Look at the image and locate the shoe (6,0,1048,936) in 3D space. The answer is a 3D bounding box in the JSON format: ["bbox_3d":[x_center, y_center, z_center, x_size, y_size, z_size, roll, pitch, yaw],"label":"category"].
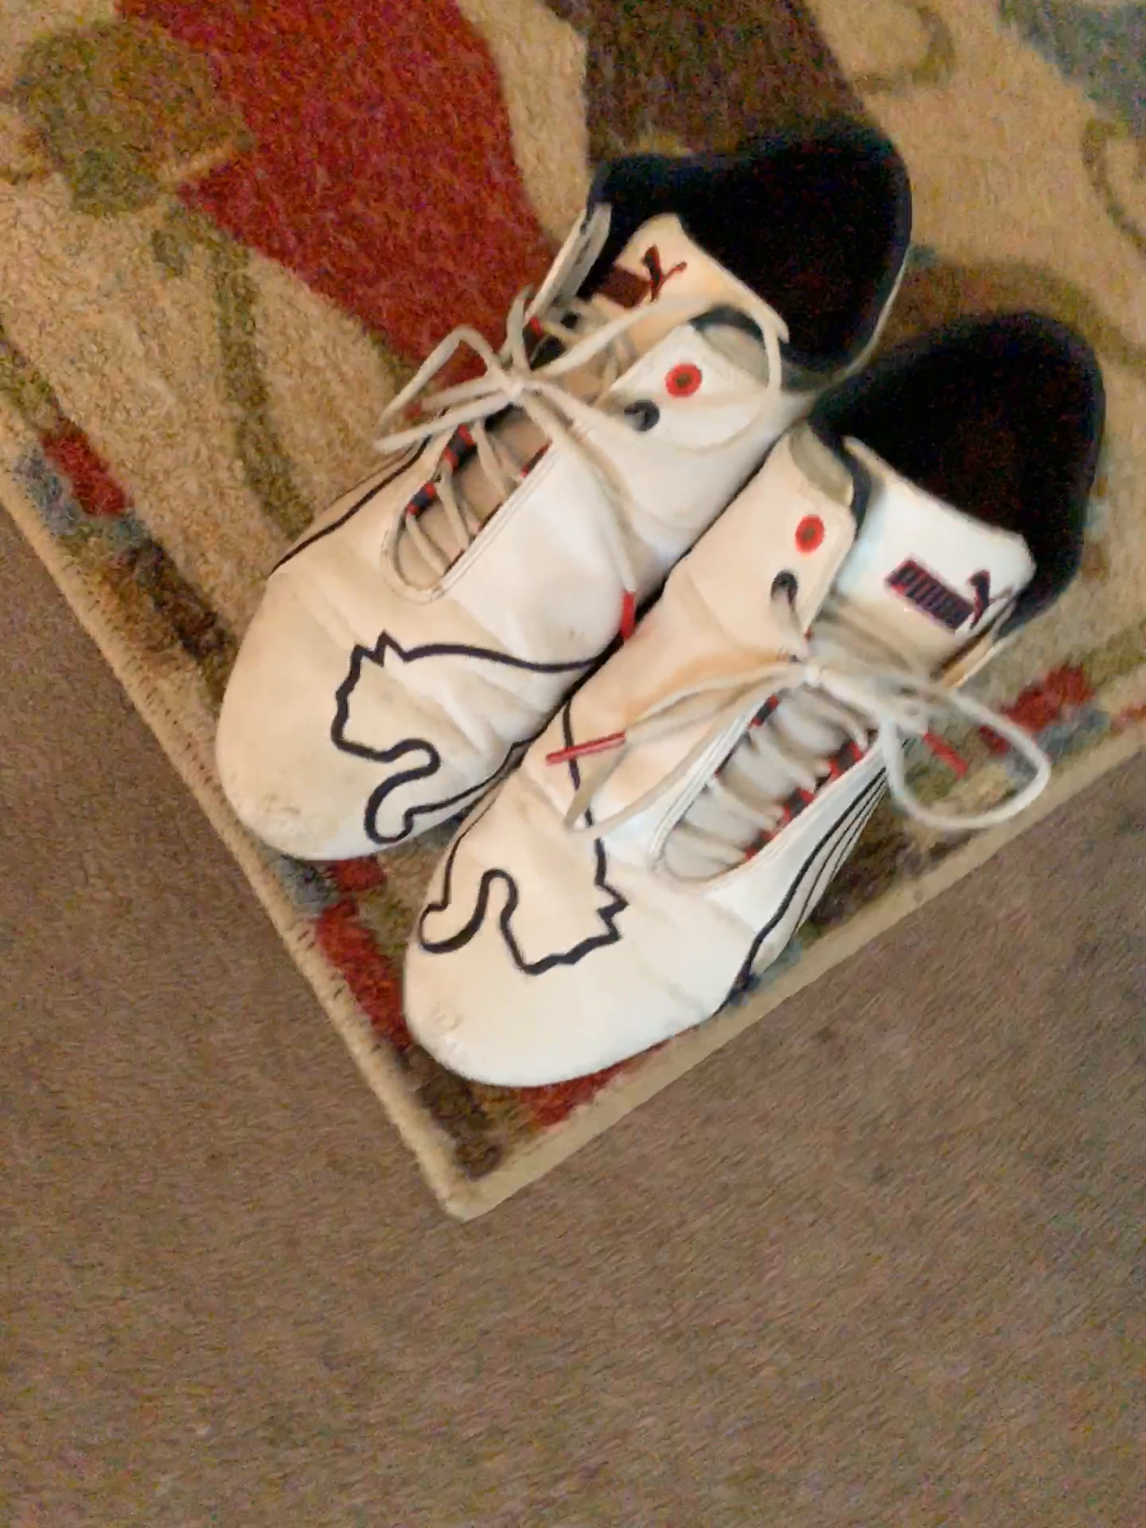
[{"bbox_3d":[-0.002,-0.094,0.350,0.100,0.090,0.291,43,74,5],"label":"shoe"}]

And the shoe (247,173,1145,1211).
[{"bbox_3d":[0.055,-0.025,0.346,0.100,0.100,0.291,43,74,5],"label":"shoe"}]
